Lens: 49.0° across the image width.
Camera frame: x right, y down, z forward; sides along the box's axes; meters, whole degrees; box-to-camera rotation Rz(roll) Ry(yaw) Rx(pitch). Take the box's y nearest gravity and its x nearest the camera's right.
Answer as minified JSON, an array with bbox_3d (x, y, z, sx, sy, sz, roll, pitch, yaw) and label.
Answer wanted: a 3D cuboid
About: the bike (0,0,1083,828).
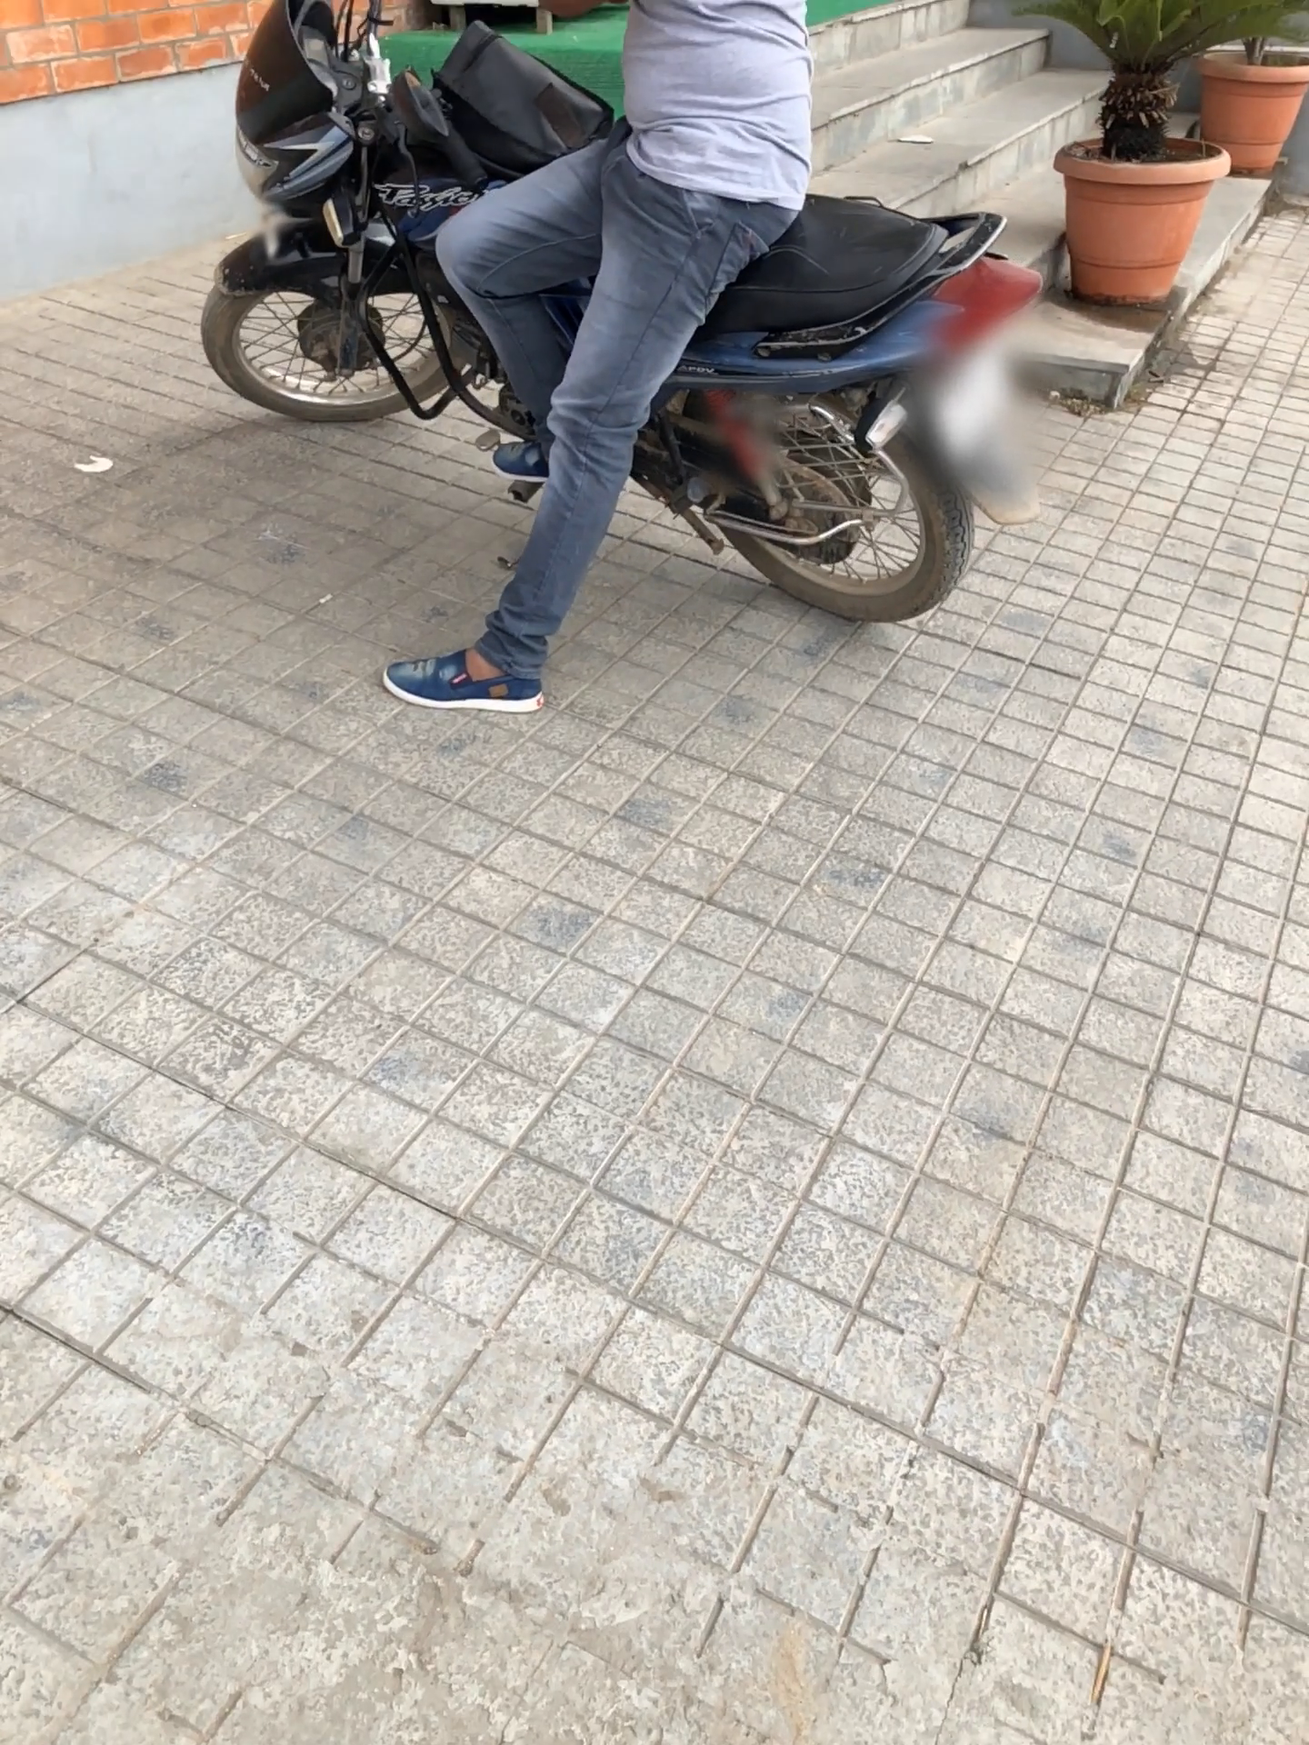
[{"bbox_3d":[-0.378,-1.126,2.581,1.820,1.344,0.817,19,40,21],"label":"bike"}]
